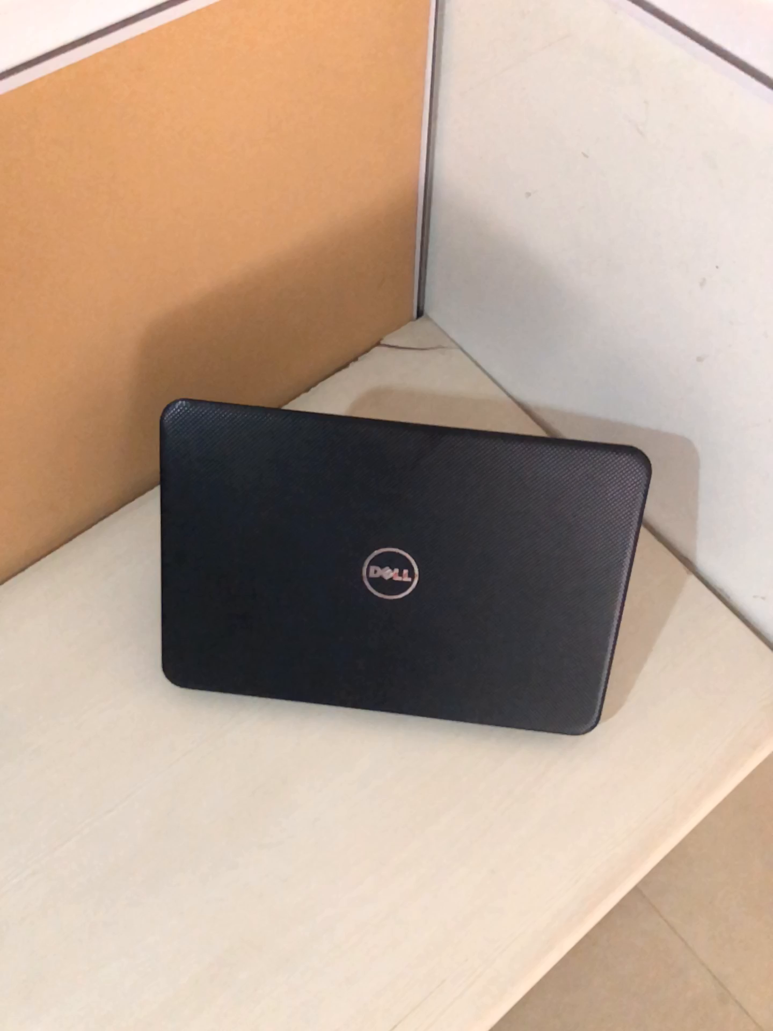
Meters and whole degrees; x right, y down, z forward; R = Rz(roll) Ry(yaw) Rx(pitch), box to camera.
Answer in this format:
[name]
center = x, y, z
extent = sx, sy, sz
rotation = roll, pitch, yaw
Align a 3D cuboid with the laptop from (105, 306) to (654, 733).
[laptop]
center = 0.009, 0.007, 0.686
extent = 0.351, 0.180, 0.255
rotation = 7, 61, 0
